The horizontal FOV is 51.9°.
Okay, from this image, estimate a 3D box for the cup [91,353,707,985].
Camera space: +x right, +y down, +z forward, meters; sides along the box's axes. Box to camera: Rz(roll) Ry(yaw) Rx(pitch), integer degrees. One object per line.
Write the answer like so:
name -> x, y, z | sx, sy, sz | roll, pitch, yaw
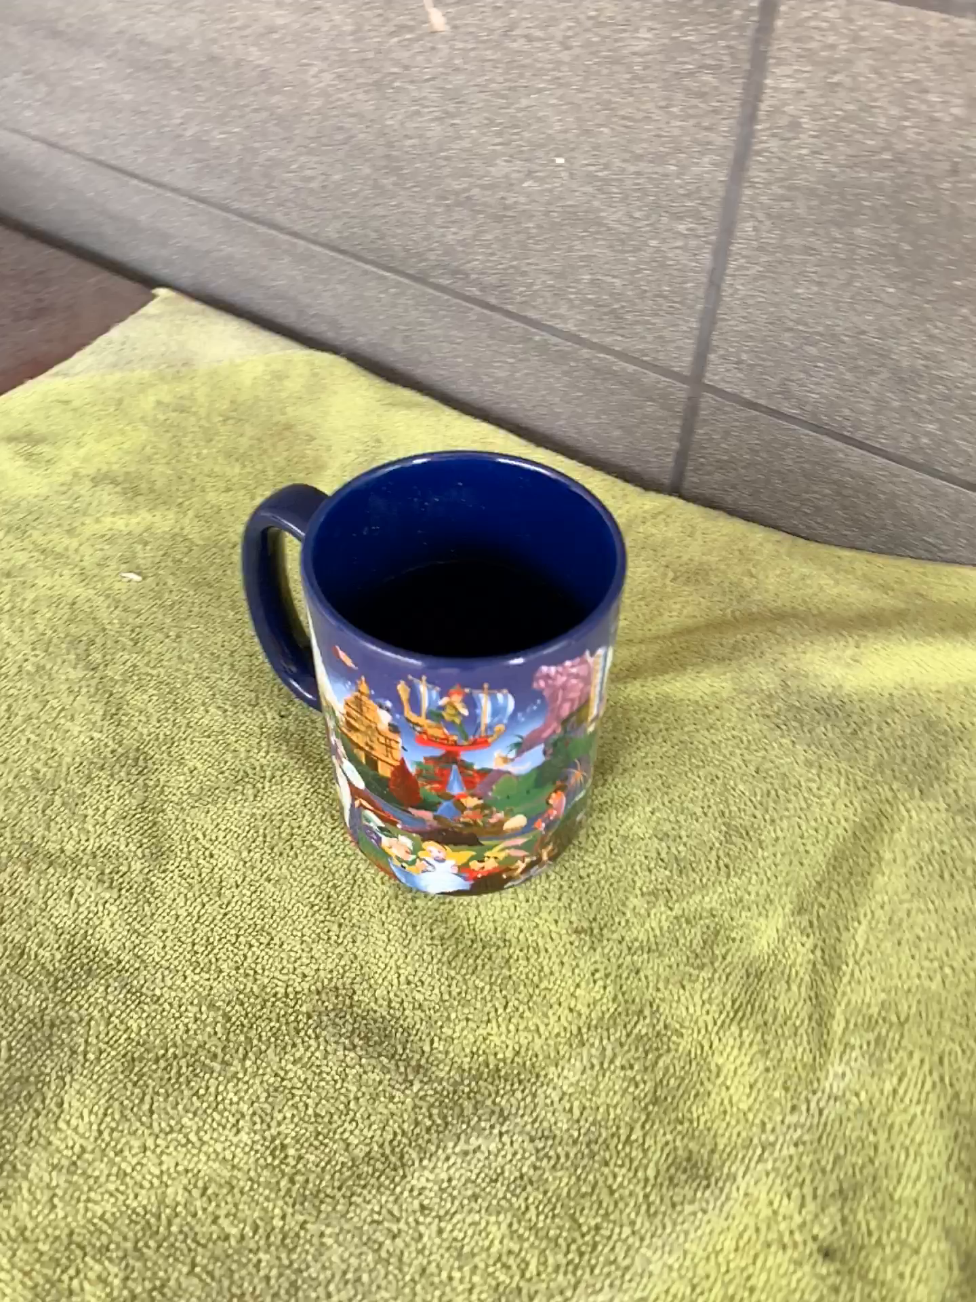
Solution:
cup -> -0.025, 0.002, 0.296 | 0.130, 0.110, 0.090 | 30, 53, 24
